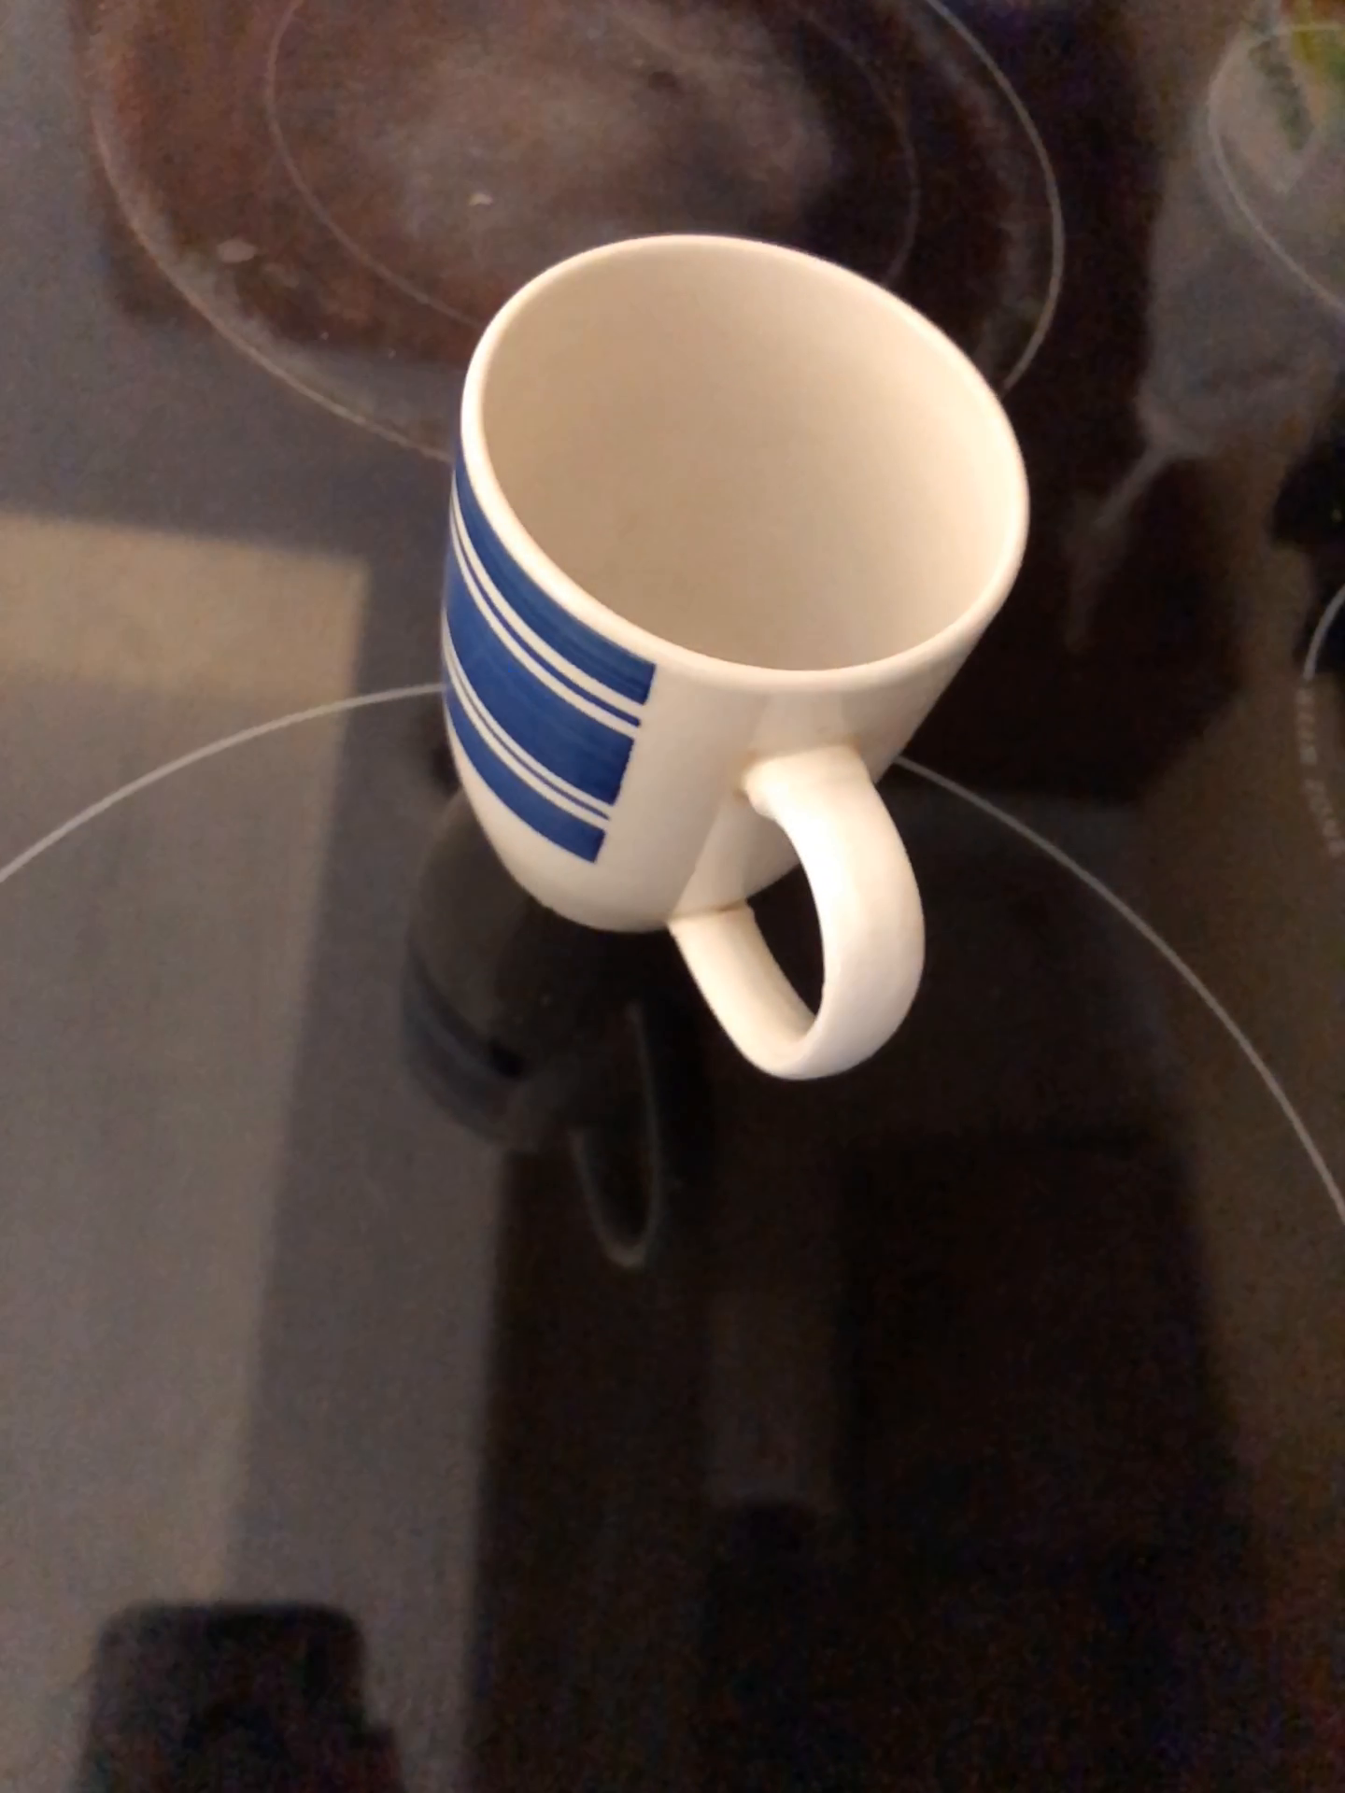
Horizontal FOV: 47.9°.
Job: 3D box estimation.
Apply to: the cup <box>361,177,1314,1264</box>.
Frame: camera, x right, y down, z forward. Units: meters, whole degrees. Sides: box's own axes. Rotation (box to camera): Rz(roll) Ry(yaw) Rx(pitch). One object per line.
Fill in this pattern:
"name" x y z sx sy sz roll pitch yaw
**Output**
"cup" 0.009 -0.025 0.225 0.080 0.090 0.120 -12 67 -19
